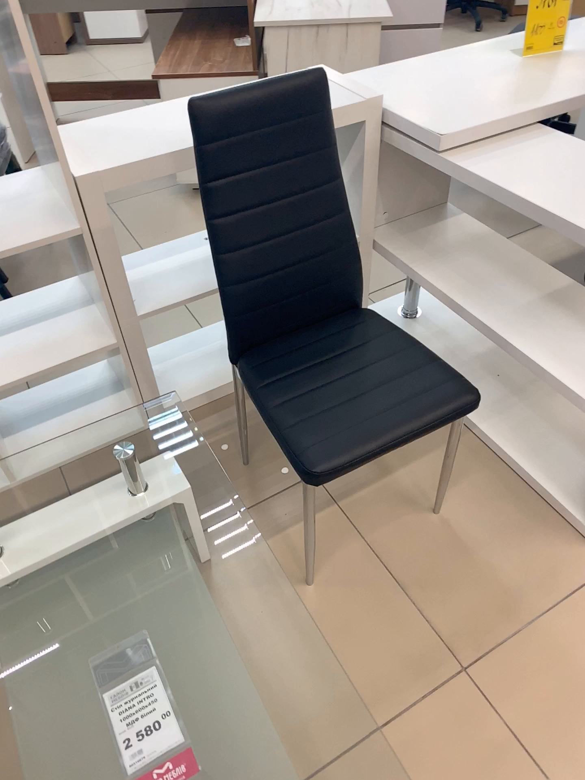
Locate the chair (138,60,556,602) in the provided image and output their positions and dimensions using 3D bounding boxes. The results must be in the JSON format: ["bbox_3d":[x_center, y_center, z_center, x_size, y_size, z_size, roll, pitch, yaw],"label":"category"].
[{"bbox_3d":[0.069,-0.105,1.301,0.440,0.916,0.602,-22,47,-17],"label":"chair"}]
